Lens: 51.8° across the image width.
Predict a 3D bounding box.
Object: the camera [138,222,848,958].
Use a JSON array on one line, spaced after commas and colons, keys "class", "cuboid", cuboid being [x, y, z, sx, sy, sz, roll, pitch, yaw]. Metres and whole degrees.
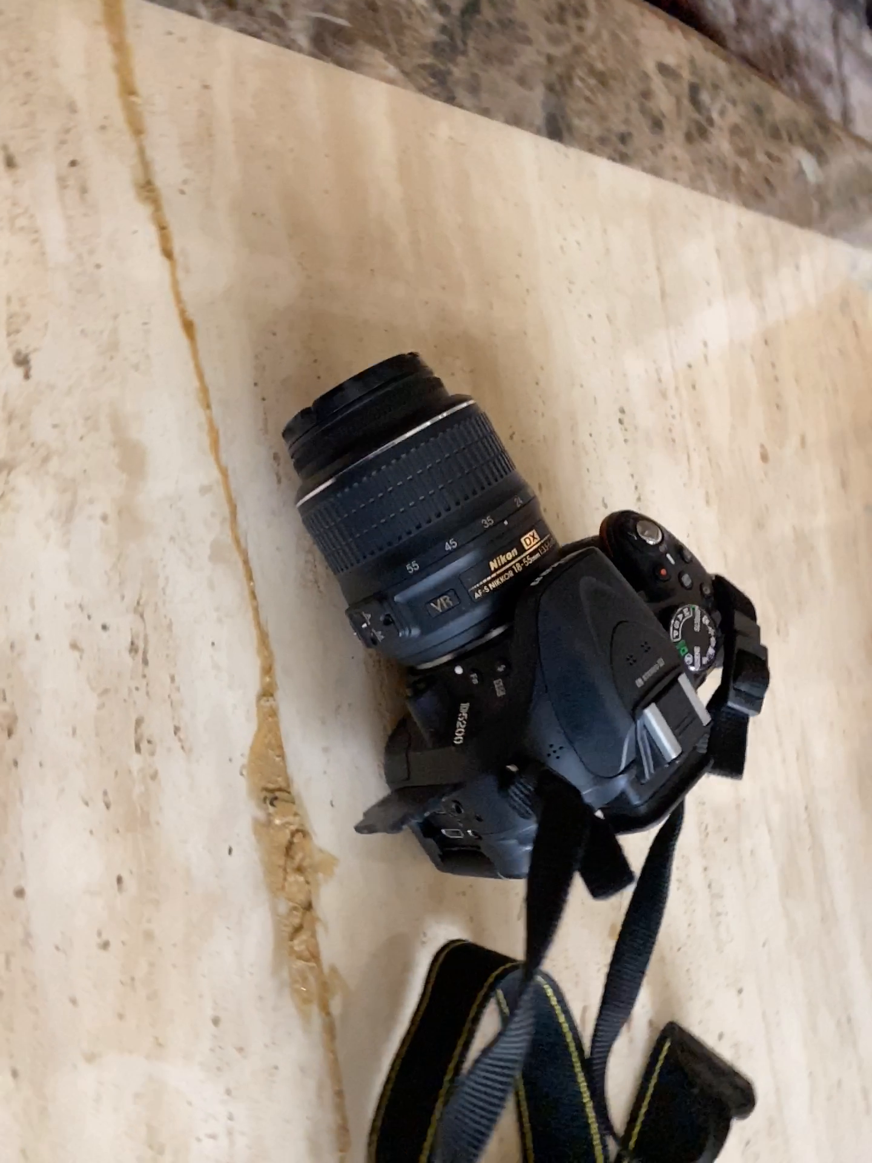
[{"class": "camera", "cuboid": [0.024, -0.002, 0.296, 0.152, 0.100, 0.159, -35, 99, -34]}]
